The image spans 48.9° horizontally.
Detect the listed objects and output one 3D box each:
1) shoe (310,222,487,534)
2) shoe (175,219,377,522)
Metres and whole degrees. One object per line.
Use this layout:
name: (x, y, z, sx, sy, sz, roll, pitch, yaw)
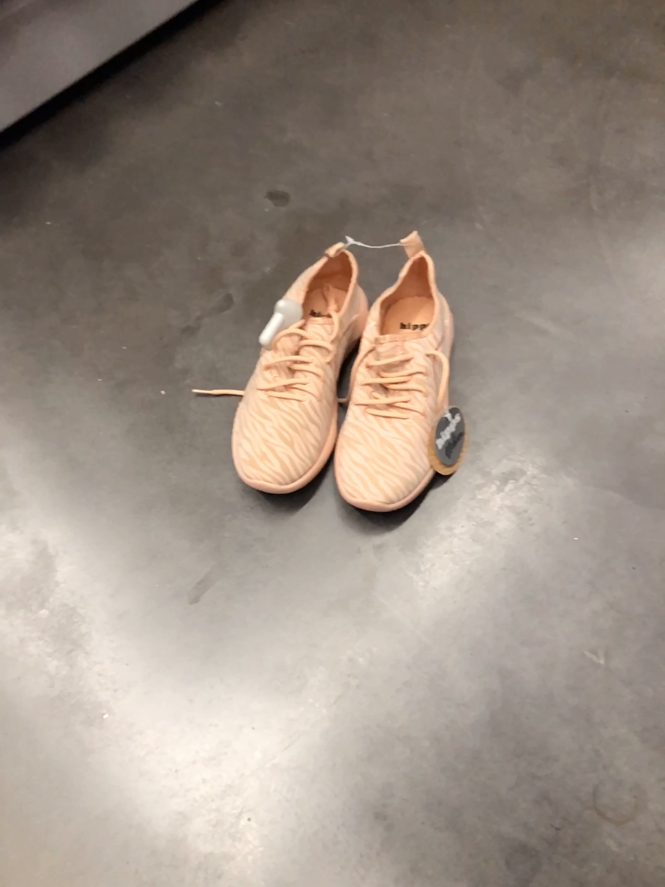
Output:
shoe: (0.059, -0.057, 0.613, 0.100, 0.100, 0.231, 10, 65, 8)
shoe: (-0.038, -0.066, 0.637, 0.100, 0.100, 0.231, 13, 65, 9)
